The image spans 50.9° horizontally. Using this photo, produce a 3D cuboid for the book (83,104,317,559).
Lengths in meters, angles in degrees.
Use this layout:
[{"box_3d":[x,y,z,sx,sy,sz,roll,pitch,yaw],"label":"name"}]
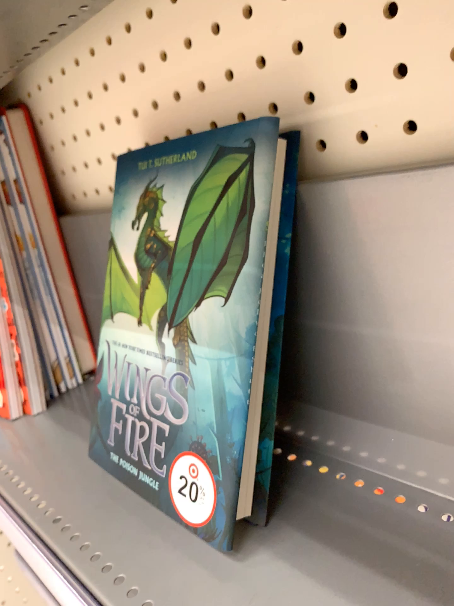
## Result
[{"box_3d":[-0.028,0.009,0.292,0.036,0.215,0.151,6,1,-41],"label":"book"}]
